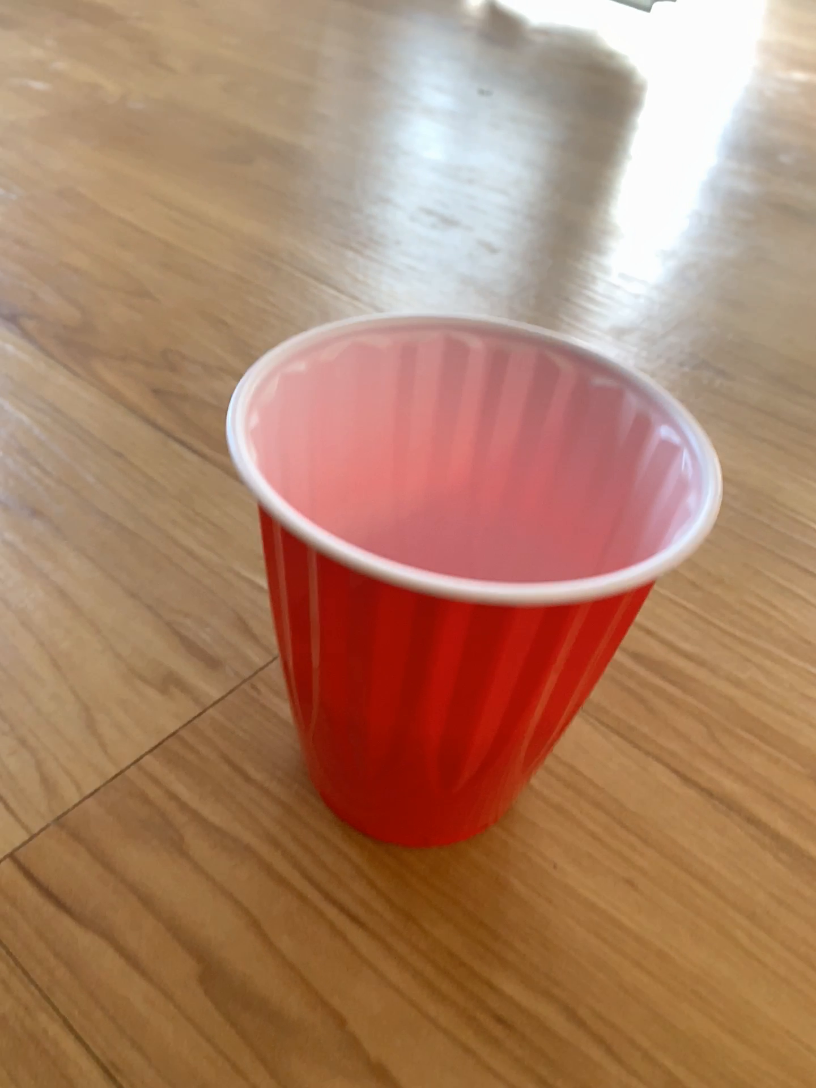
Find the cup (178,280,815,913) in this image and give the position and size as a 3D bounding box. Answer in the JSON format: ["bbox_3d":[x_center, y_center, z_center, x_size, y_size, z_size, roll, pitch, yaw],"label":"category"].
[{"bbox_3d":[0.005,0.005,0.193,0.100,0.090,0.100,4,41,-4],"label":"cup"}]
